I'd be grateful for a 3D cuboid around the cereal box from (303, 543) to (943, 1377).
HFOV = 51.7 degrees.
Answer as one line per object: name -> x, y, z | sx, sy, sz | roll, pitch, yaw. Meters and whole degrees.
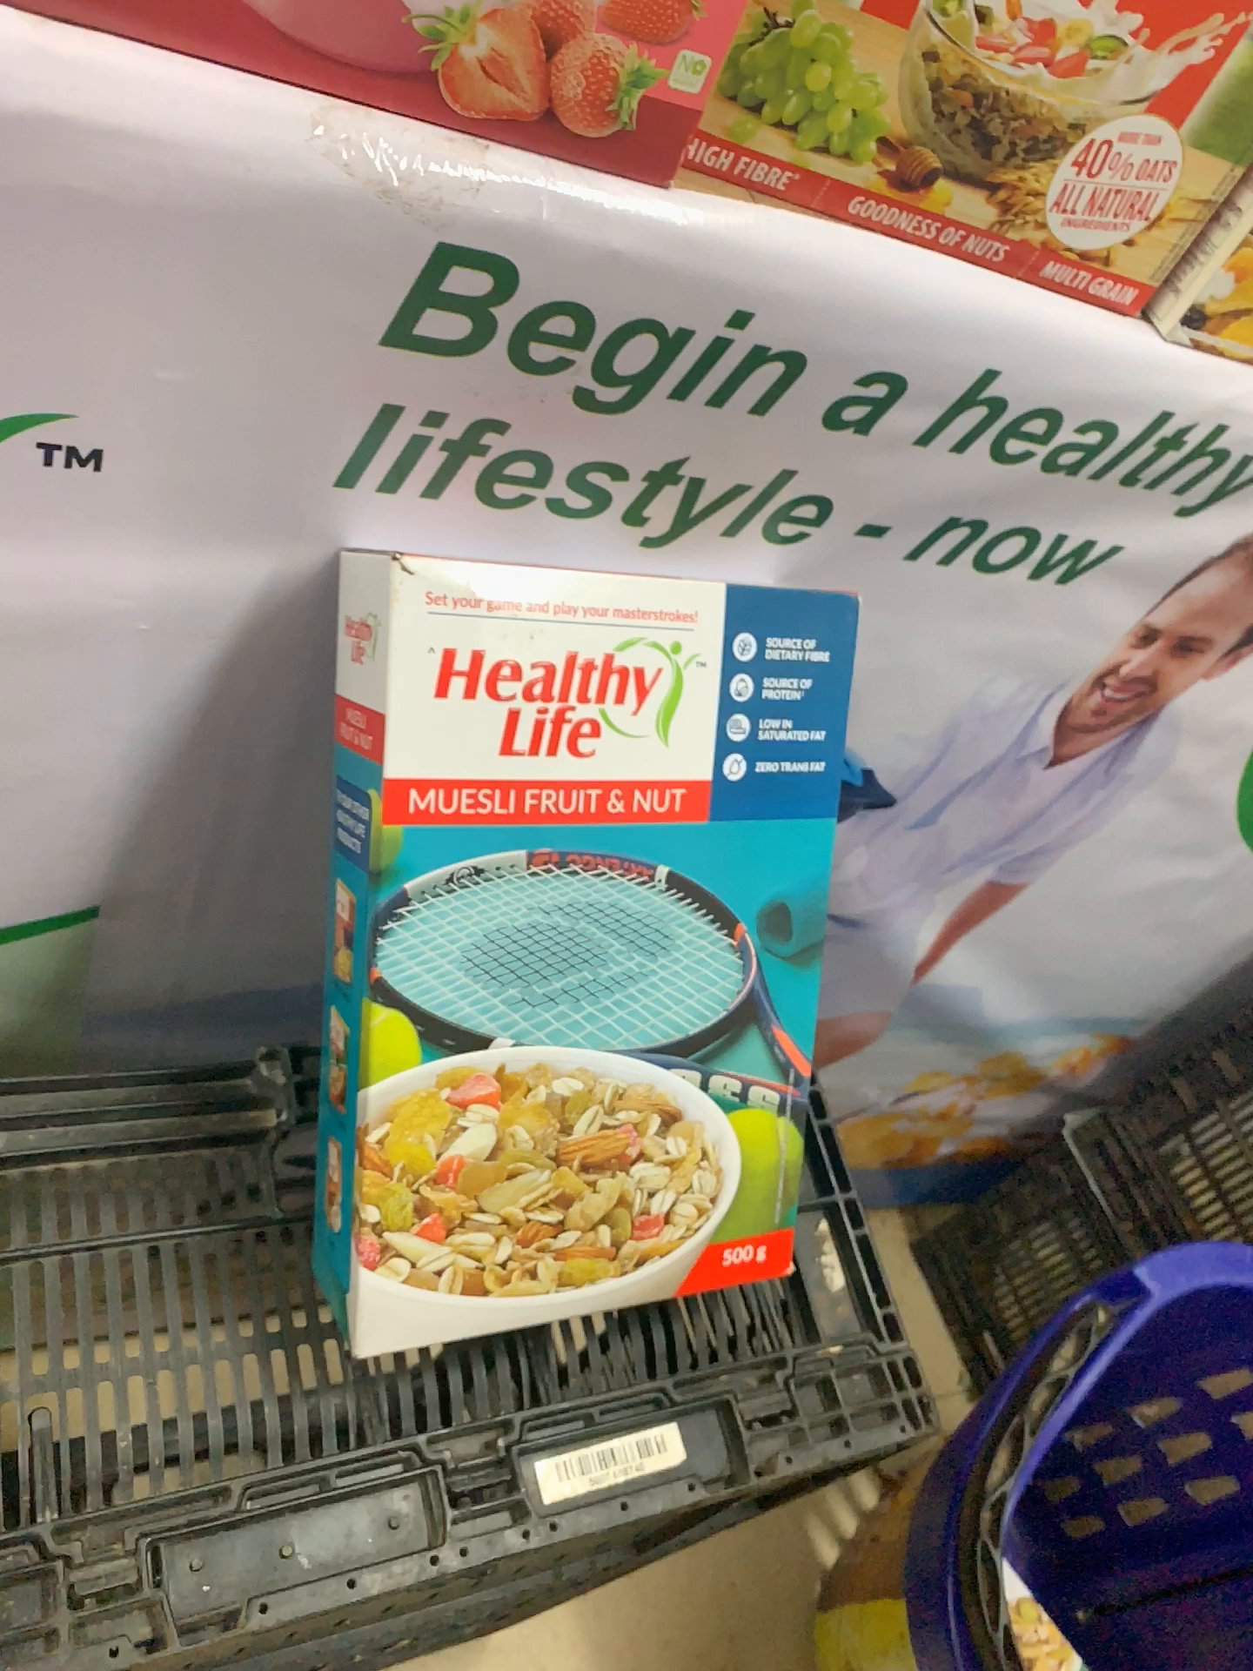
cereal box -> -0.004, 0.035, 0.446 | 0.190, 0.250, 0.070 | -1, 13, -26
